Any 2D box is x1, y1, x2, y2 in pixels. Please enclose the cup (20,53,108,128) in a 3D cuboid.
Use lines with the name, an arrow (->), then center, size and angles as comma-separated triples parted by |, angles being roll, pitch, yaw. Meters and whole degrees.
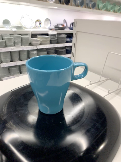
cup -> -0.002, 0.007, 0.257 | 0.140, 0.100, 0.100 | -6, 28, -19
